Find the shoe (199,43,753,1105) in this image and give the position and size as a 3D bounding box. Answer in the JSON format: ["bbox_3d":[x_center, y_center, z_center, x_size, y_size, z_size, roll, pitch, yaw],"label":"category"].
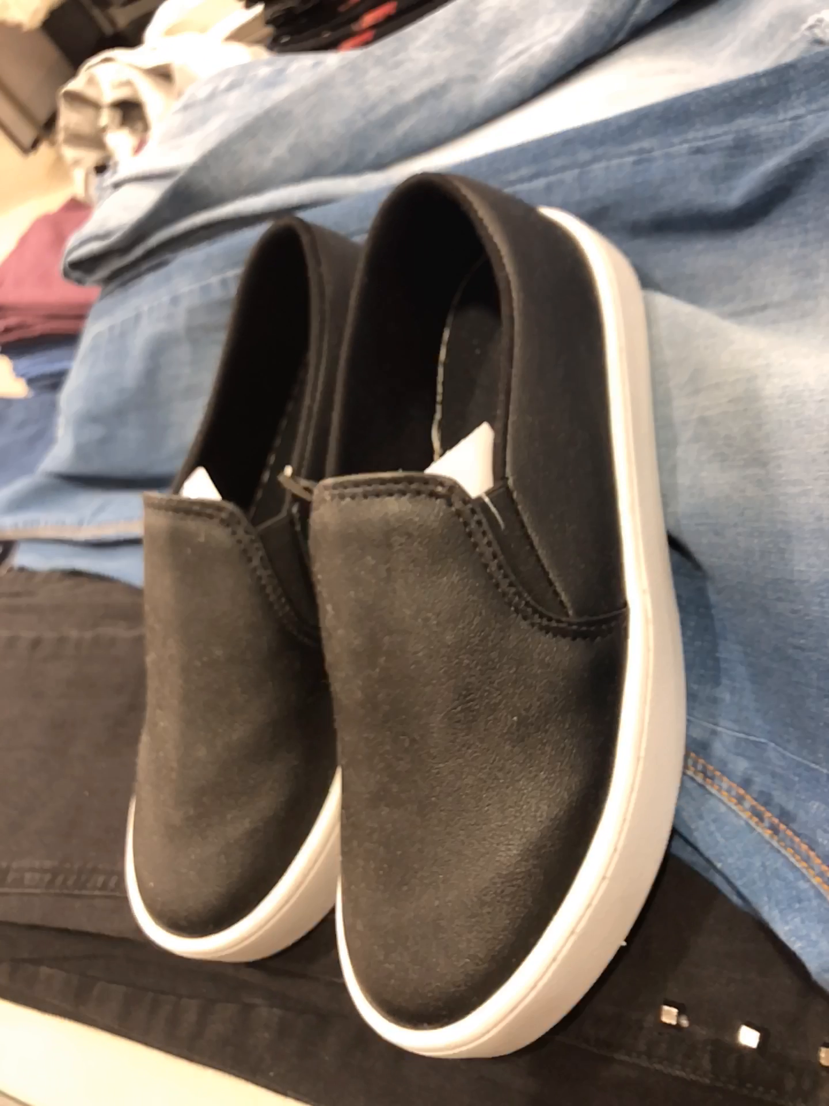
[{"bbox_3d":[0.032,0.005,0.283,0.110,0.099,0.261,-5,70,33],"label":"shoe"}]

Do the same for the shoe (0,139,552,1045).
[{"bbox_3d":[-0.047,0.009,0.330,0.110,0.099,0.260,3,74,37],"label":"shoe"}]
